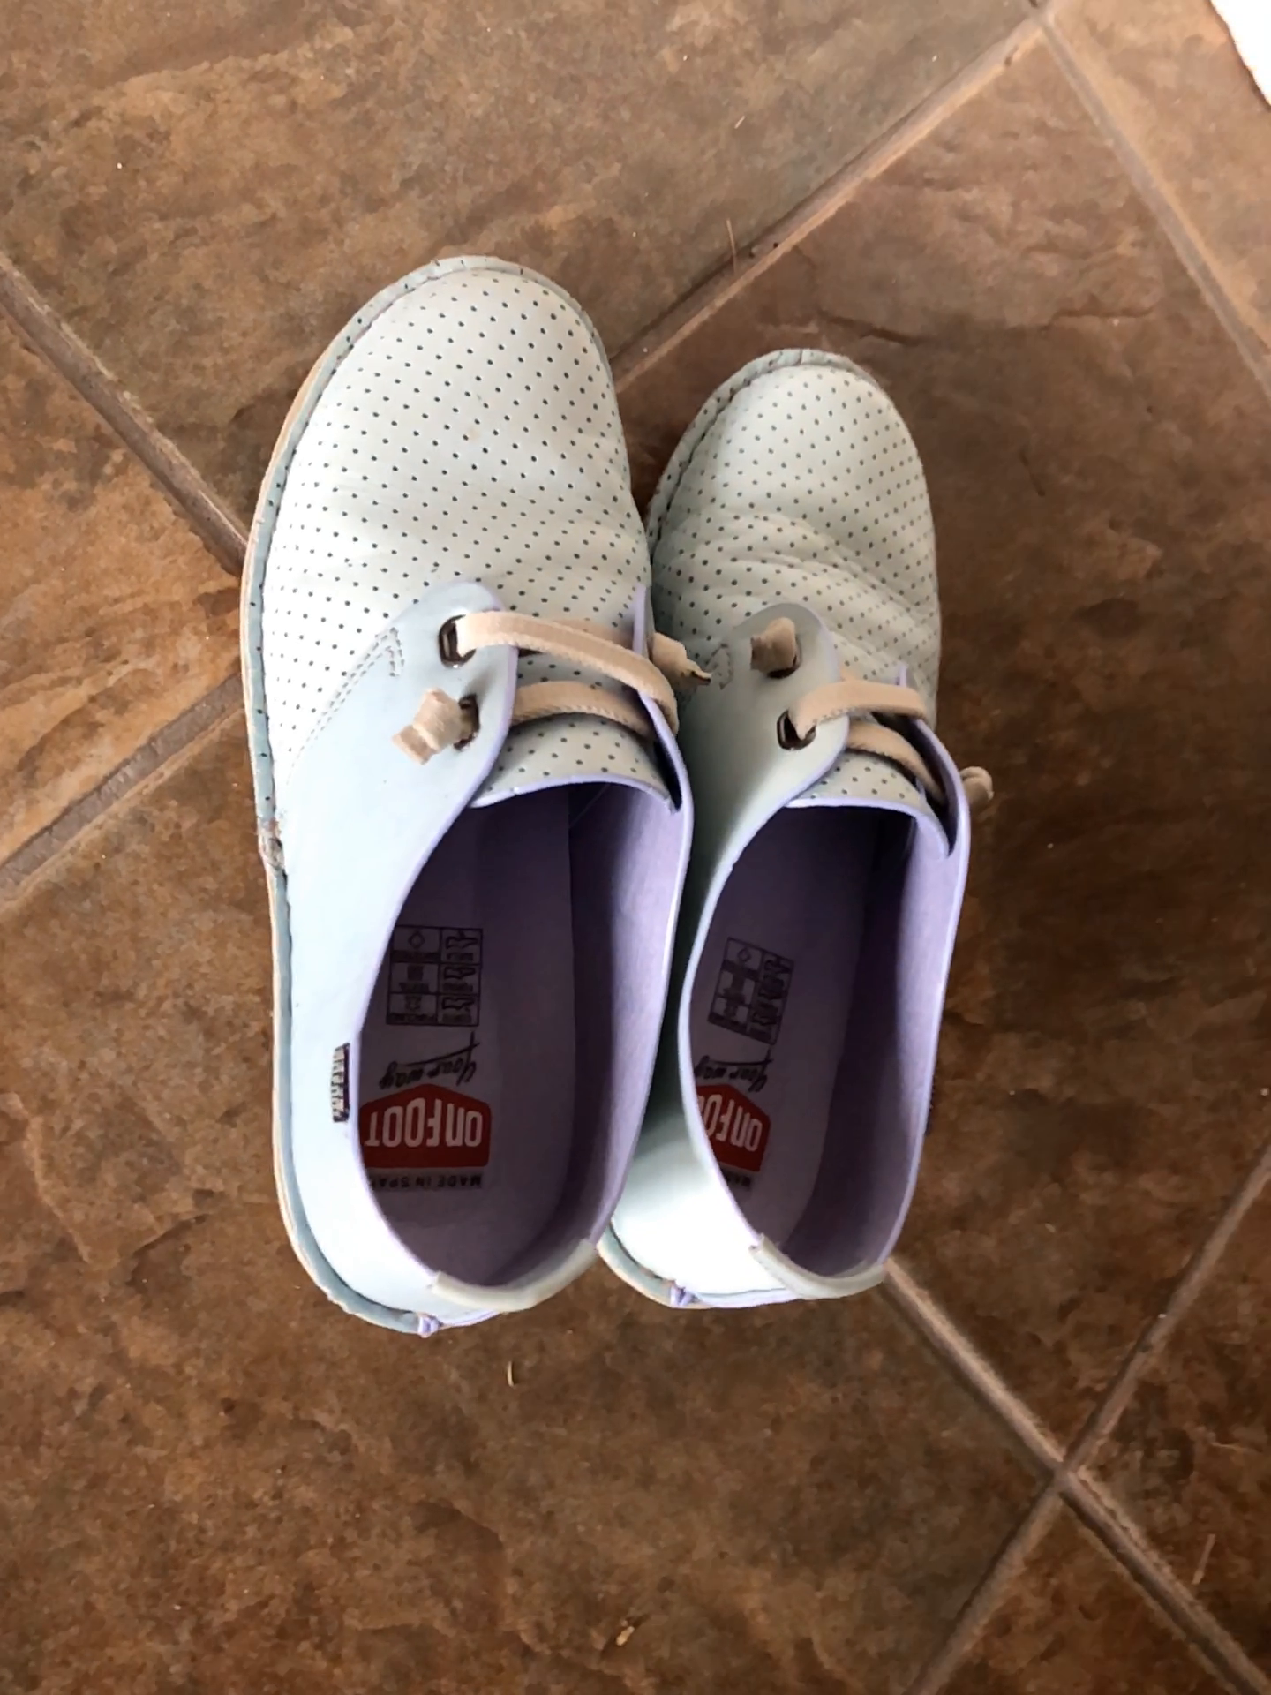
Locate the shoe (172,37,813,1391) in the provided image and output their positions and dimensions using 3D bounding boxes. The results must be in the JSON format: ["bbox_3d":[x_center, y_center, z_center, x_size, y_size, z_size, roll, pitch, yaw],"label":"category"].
[{"bbox_3d":[-0.035,-0.022,0.320,0.100,0.100,0.250,6,83,-25],"label":"shoe"}]

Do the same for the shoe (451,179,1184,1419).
[{"bbox_3d":[0.044,-0.007,0.345,0.100,0.100,0.250,16,79,-24],"label":"shoe"}]
